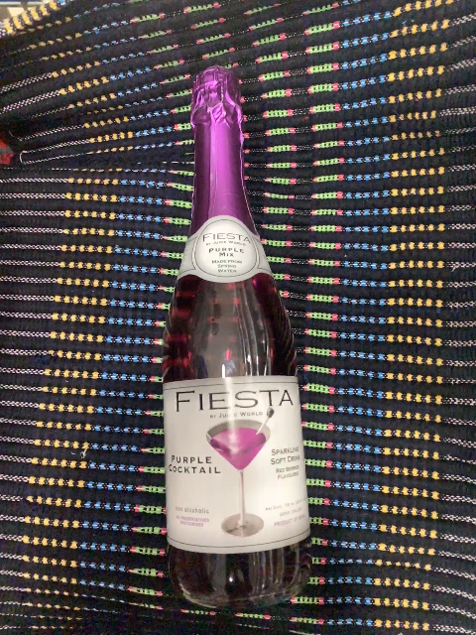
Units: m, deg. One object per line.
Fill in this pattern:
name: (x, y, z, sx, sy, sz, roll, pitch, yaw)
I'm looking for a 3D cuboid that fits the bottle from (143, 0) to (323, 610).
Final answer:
bottle: (-0.008, -0.021, 0.296, 0.080, 0.080, 0.330, -4, 77, 3)
